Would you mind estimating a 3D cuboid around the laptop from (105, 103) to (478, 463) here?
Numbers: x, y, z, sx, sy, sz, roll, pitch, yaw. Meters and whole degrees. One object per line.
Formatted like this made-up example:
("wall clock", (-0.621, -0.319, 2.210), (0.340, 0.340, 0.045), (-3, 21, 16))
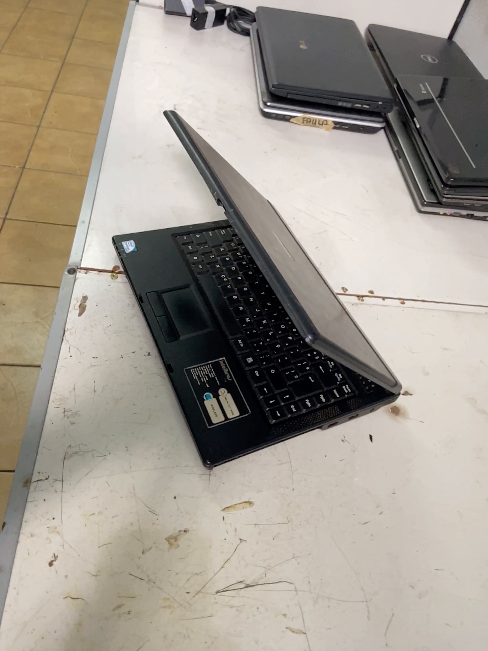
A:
("laptop", (0.014, -0.070, 0.537), (0.236, 0.168, 0.325), (-14, 55, -23))
